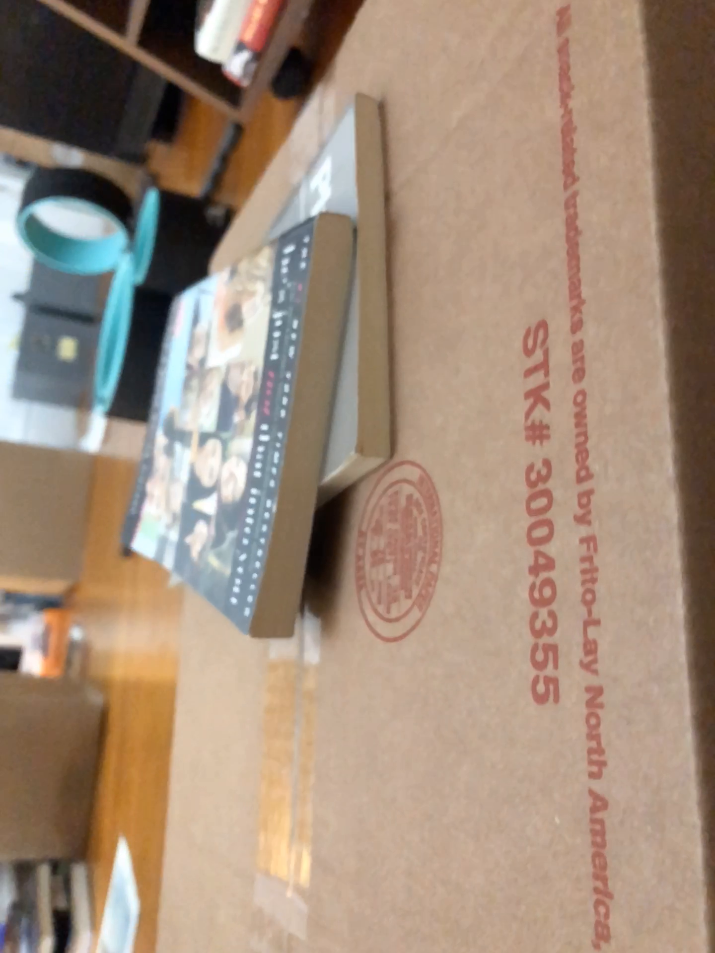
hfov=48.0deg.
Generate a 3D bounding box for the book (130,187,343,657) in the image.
[{"bbox_3d":[-0.068,-0.024,0.361,0.231,0.010,0.150,8,89,66],"label":"book"}]
